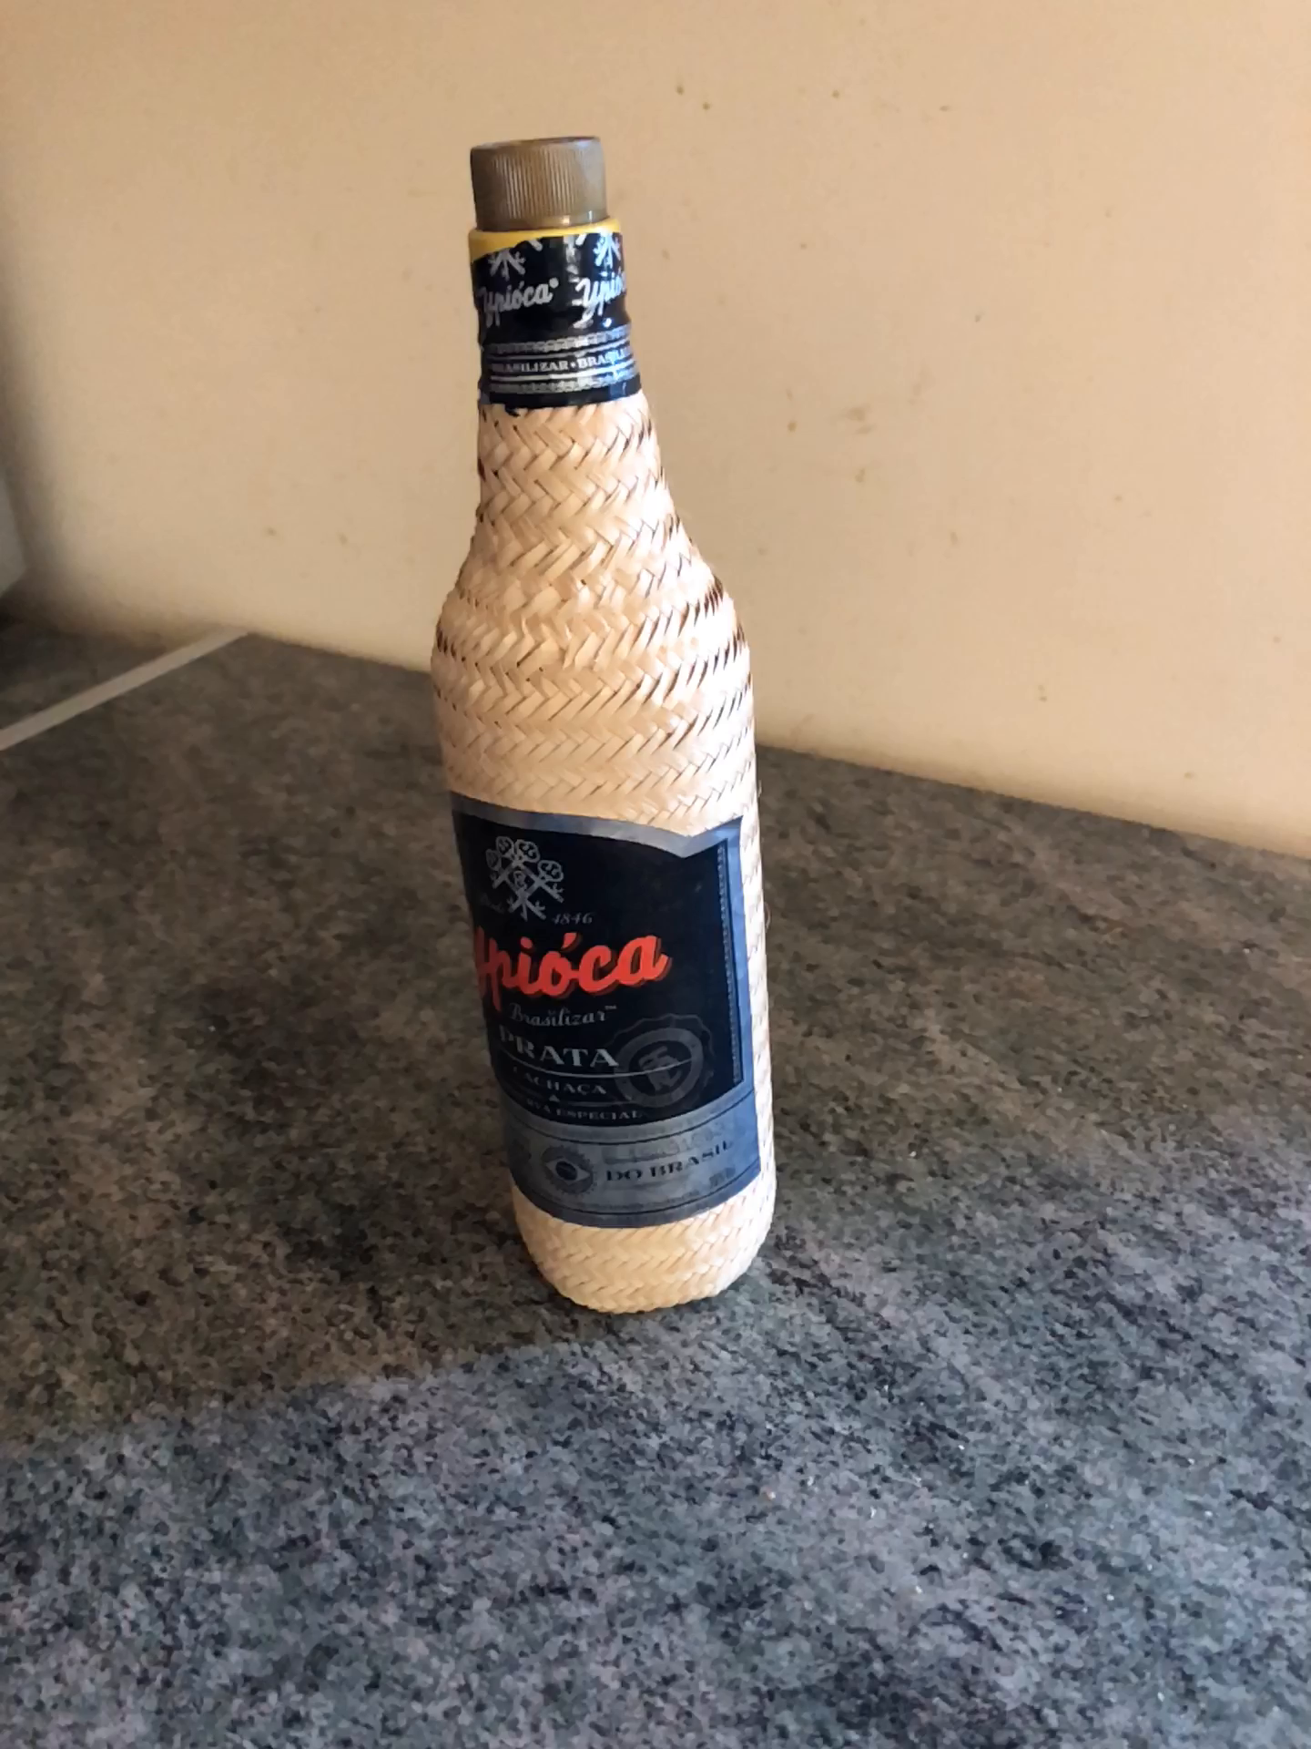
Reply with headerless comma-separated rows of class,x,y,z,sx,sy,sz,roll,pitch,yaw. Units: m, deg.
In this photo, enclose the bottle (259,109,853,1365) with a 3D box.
bottle,-0.017,-0.027,0.361,0.090,0.288,0.080,16,33,28
